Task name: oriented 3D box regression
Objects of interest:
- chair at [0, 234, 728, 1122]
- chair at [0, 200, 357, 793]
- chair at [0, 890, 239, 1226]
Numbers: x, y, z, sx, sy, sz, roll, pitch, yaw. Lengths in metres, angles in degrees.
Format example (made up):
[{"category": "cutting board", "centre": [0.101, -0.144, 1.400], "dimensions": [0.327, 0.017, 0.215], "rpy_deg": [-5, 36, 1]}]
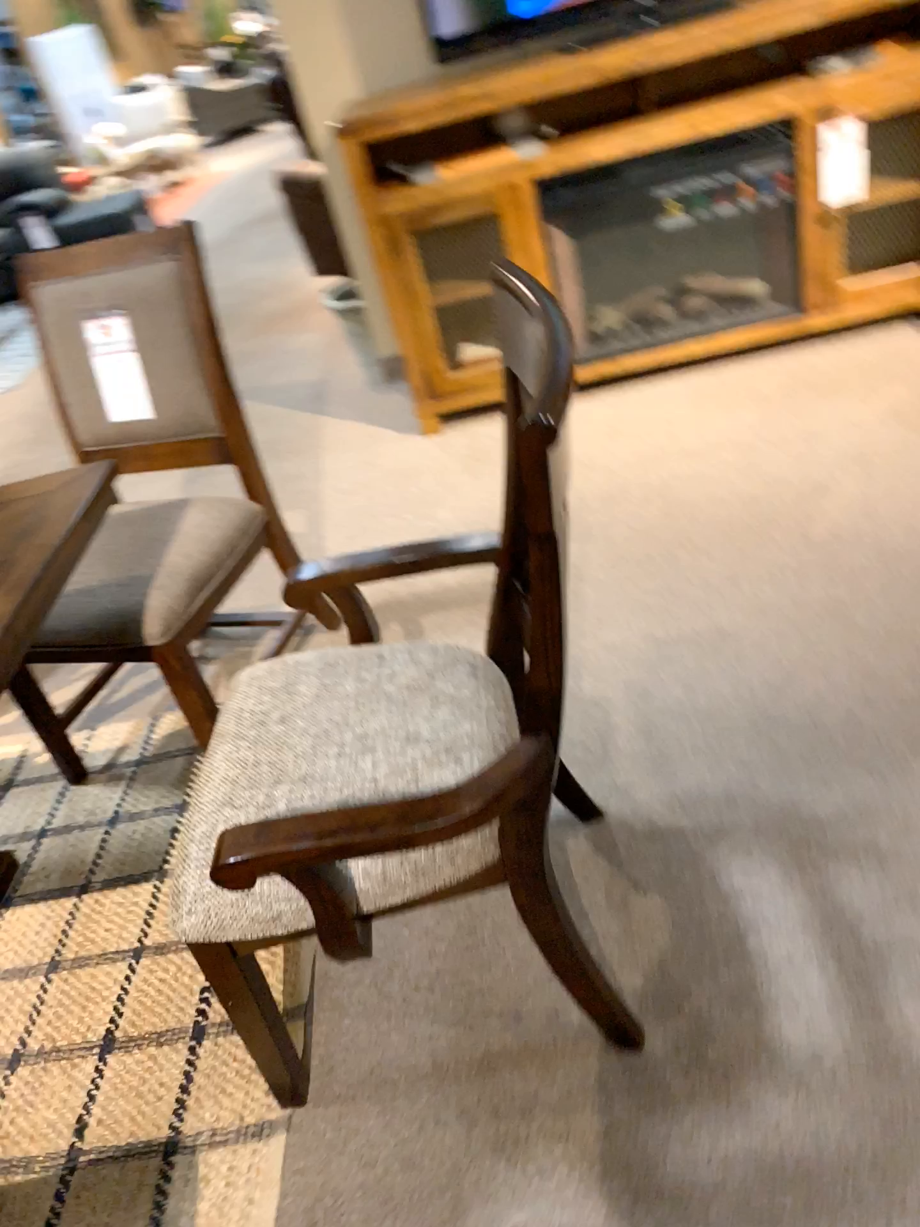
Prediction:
[{"category": "chair", "centre": [-0.085, 0.118, 1.212], "dimensions": [0.654, 0.896, 0.548], "rpy_deg": [-11, 34, 8]}, {"category": "chair", "centre": [-0.673, -0.207, 1.889], "dimensions": [0.506, 0.936, 0.647], "rpy_deg": [-3, 36, 18]}, {"category": "chair", "centre": [-0.551, 0.758, 0.496], "dimensions": [0.505, 0.916, 0.647], "rpy_deg": [-17, 34, 2]}]
